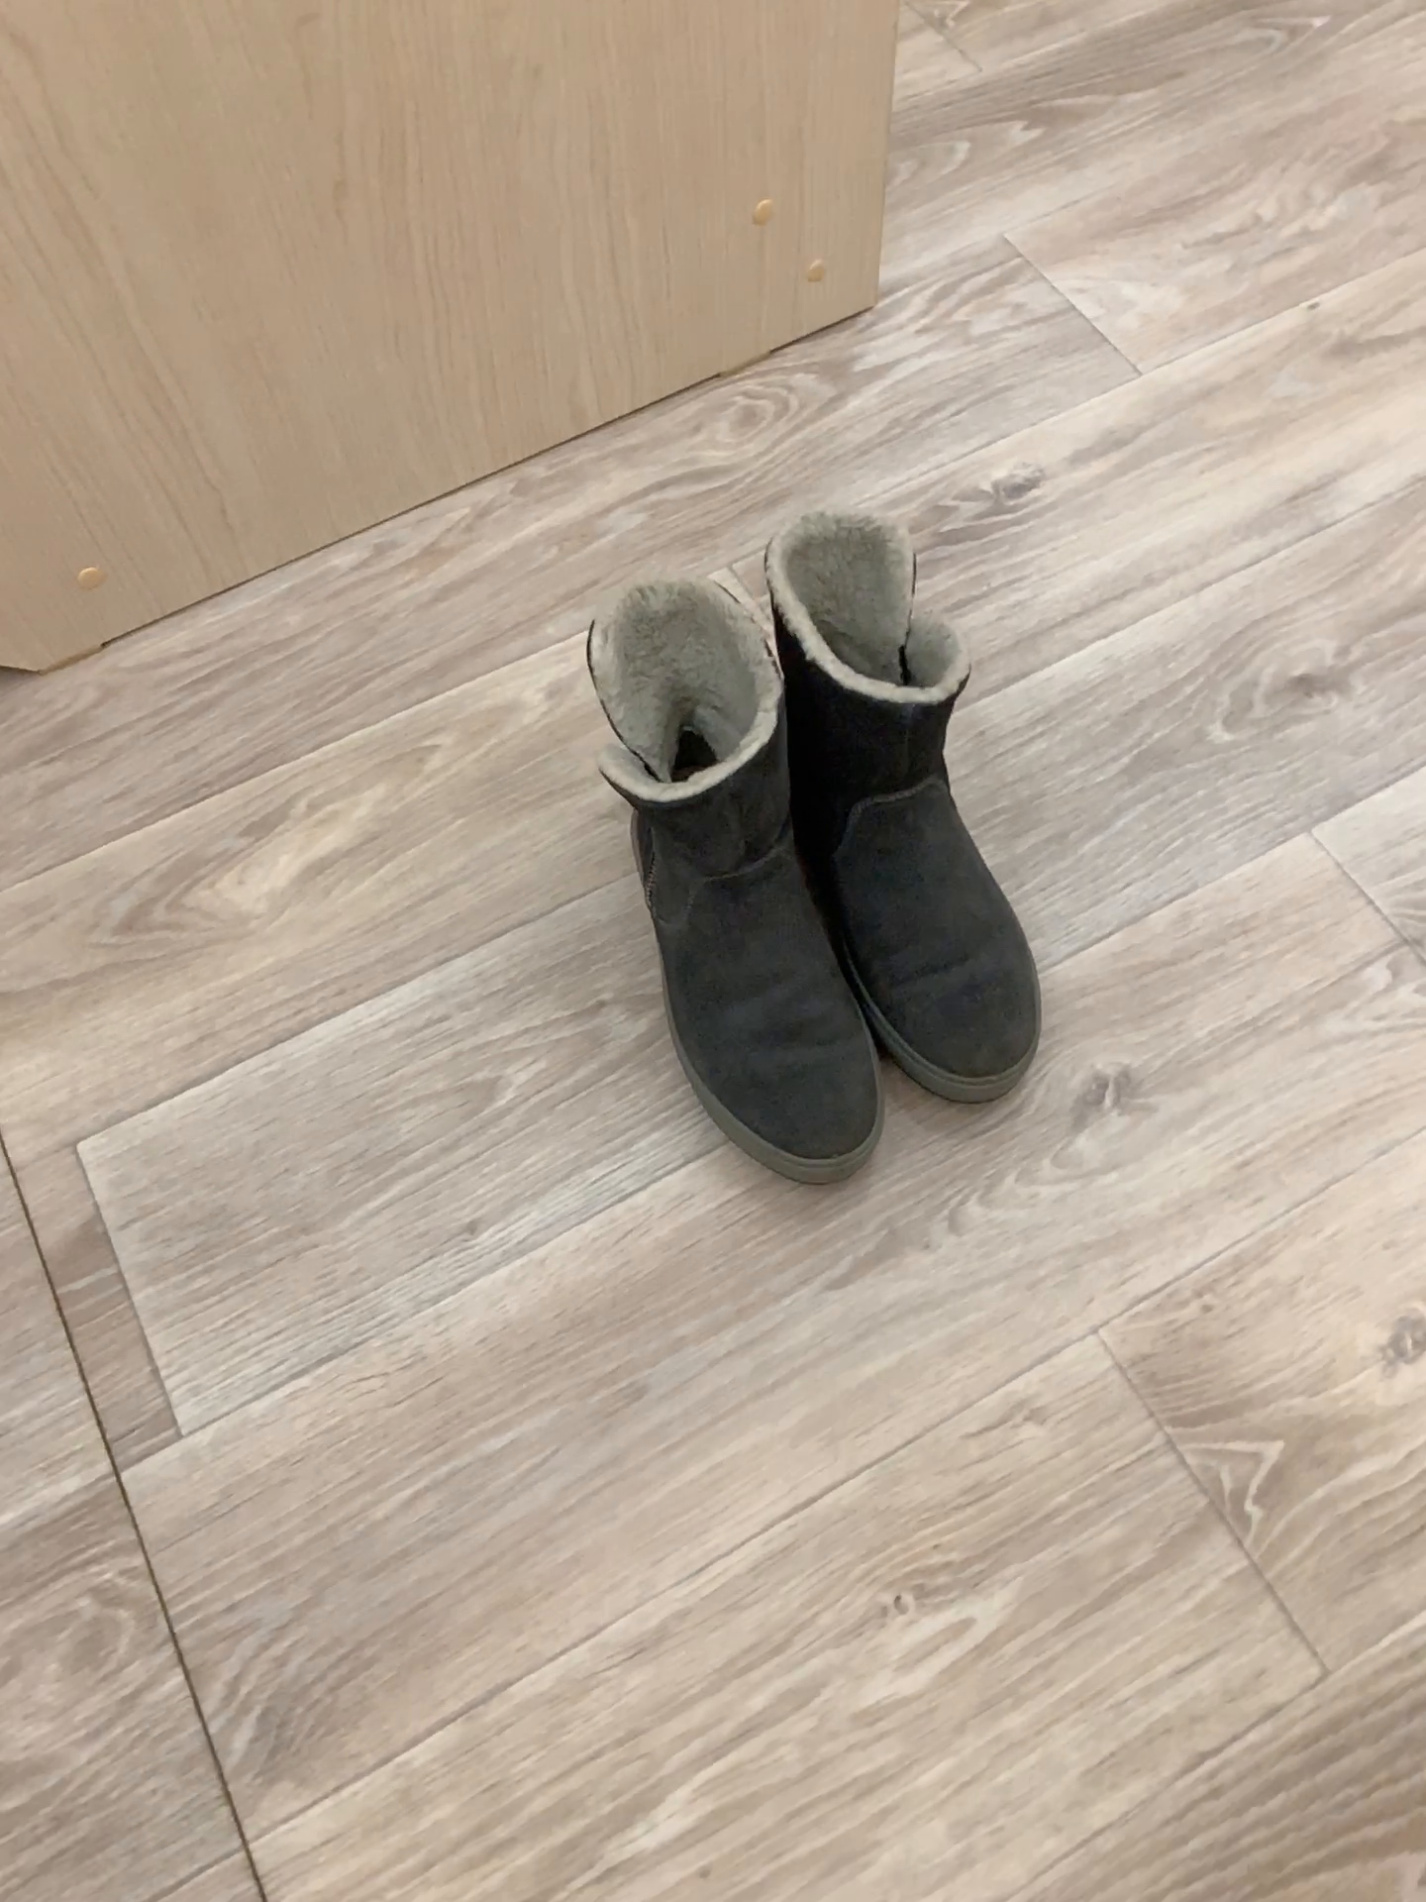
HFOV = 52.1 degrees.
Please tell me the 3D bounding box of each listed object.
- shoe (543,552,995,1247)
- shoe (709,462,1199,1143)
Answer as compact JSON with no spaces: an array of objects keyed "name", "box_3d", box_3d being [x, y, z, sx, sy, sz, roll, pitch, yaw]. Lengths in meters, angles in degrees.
[{"name":"shoe","box_3d":[0.019,-0.022,0.713,0.100,0.180,0.271,-20,63,-8]},{"name":"shoe","box_3d":[0.100,-0.071,0.717,0.100,0.170,0.271,-22,64,-9]}]
